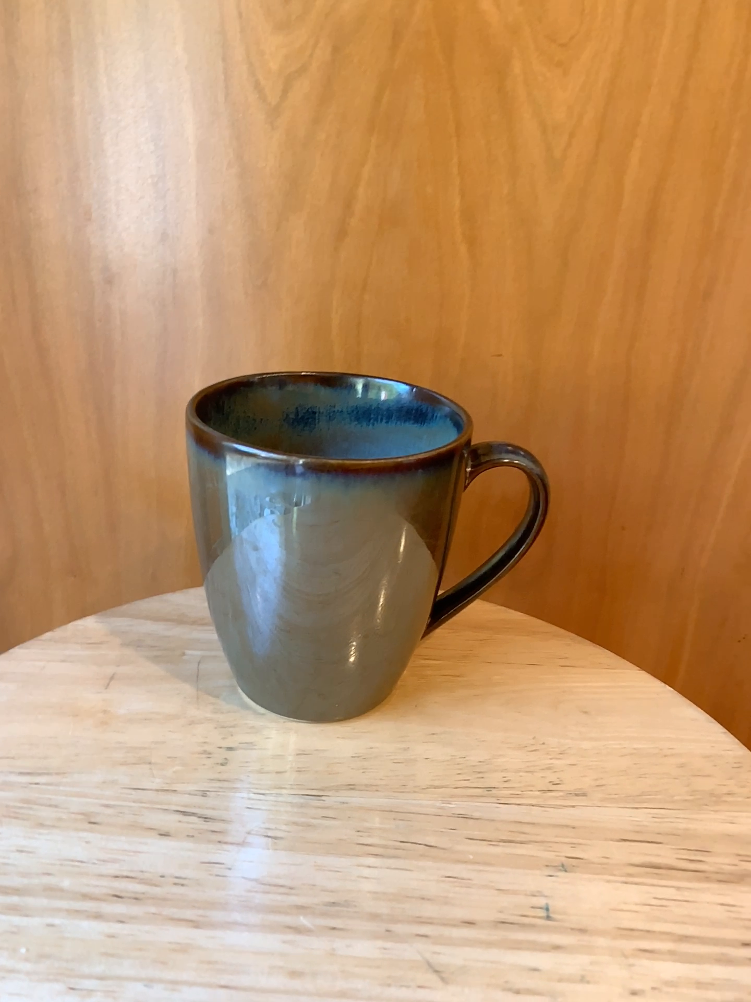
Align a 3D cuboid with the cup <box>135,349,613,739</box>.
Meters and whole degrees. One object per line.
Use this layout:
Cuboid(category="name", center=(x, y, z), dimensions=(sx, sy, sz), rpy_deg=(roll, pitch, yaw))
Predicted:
Cuboid(category="cup", center=(-0.003, 0.009, 0.249), dimensions=(0.120, 0.090, 0.080), rpy_deg=(4, 23, -2))
